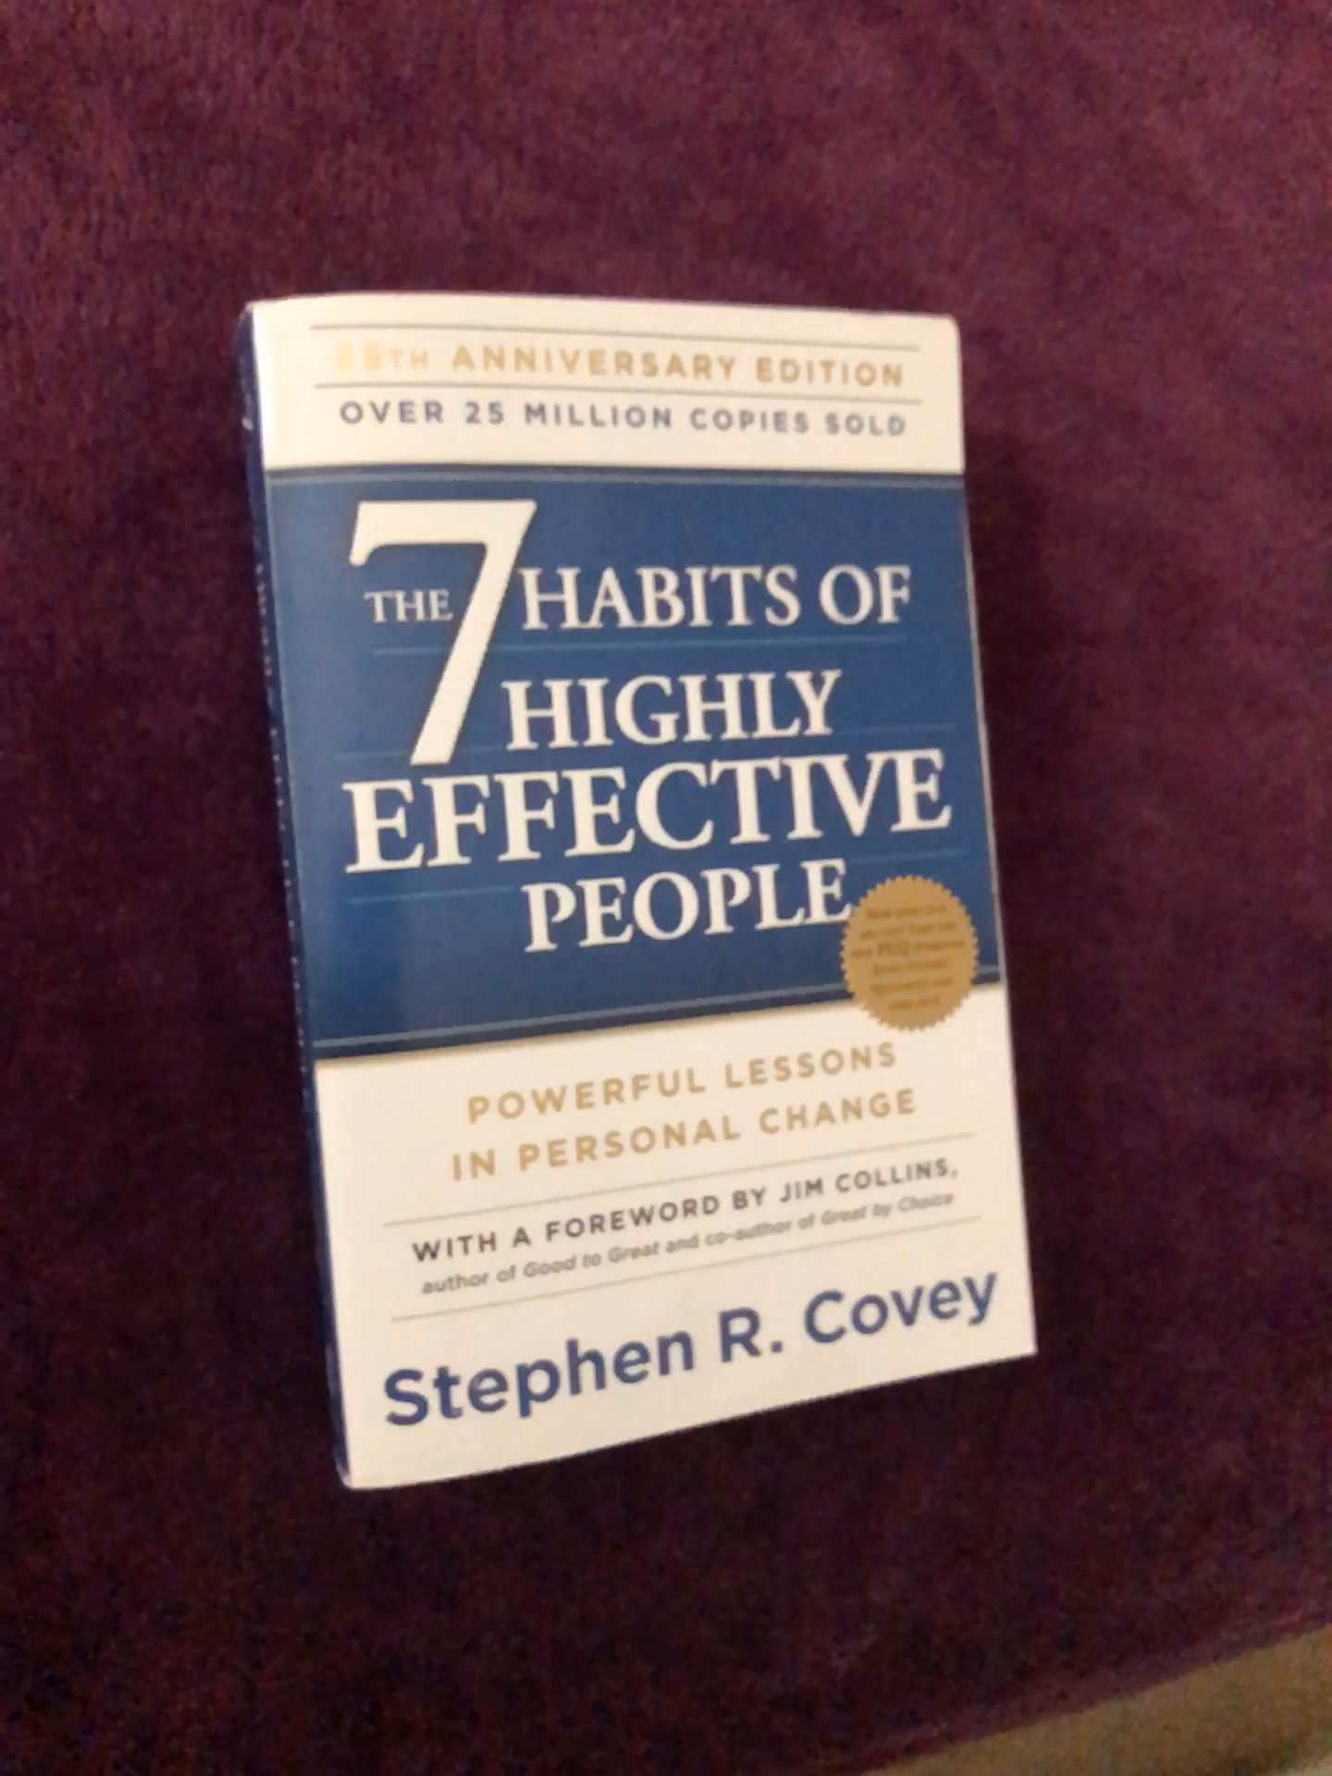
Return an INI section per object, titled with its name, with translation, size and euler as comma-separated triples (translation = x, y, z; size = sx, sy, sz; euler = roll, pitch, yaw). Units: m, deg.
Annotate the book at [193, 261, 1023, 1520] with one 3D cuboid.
[book]
translation = -0.007, -0.004, 0.295
size = 0.147, 0.028, 0.217
euler = -5, 92, -19
